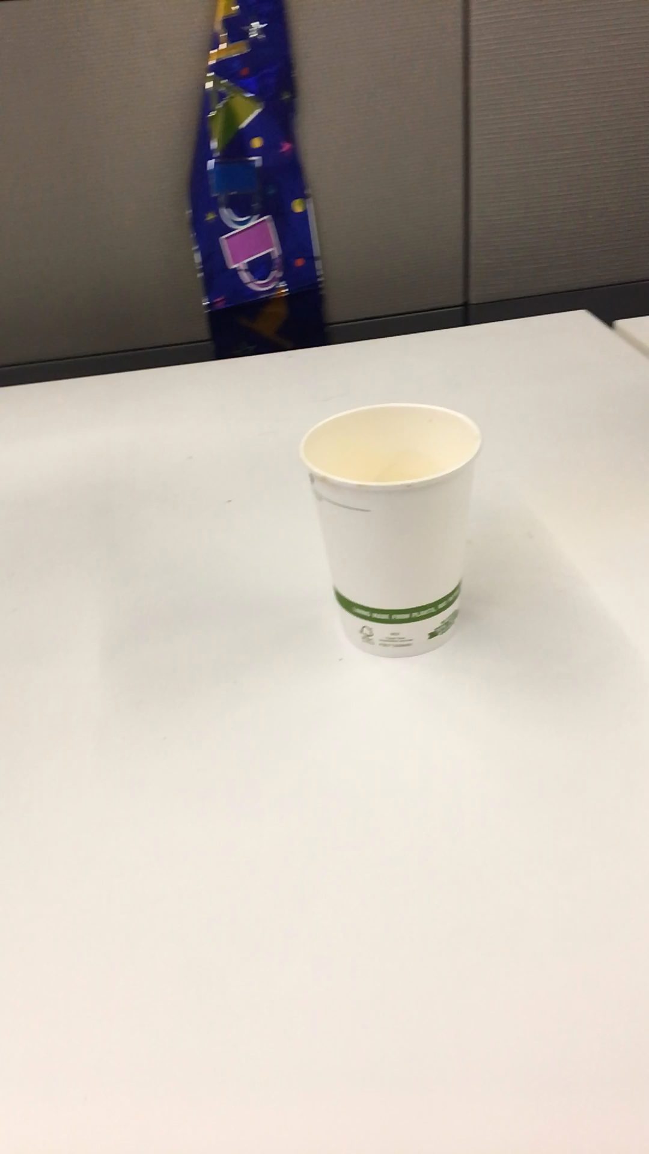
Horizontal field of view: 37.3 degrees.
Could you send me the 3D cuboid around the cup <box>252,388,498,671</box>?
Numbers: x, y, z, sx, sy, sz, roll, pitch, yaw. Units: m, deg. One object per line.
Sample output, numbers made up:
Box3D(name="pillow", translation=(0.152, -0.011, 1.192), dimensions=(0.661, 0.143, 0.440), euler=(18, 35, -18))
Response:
Box3D(name="cup", translation=(0.029, -0.026, 0.472), dimensions=(0.090, 0.100, 0.080), euler=(11, 36, 23))
